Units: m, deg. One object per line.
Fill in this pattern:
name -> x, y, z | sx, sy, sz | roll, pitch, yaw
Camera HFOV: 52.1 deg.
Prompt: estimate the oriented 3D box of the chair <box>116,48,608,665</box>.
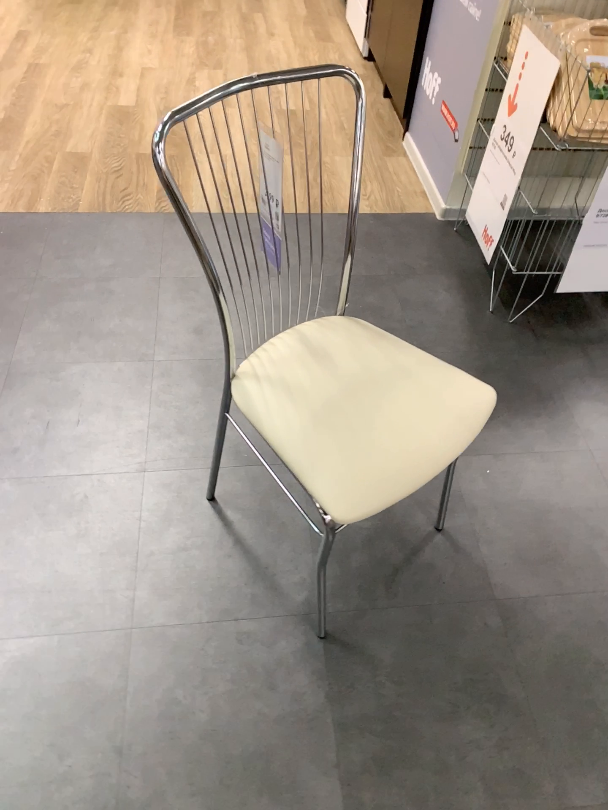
chair -> 0.059, -0.040, 1.211 | 0.473, 0.965, 0.553 | -31, 57, -29
